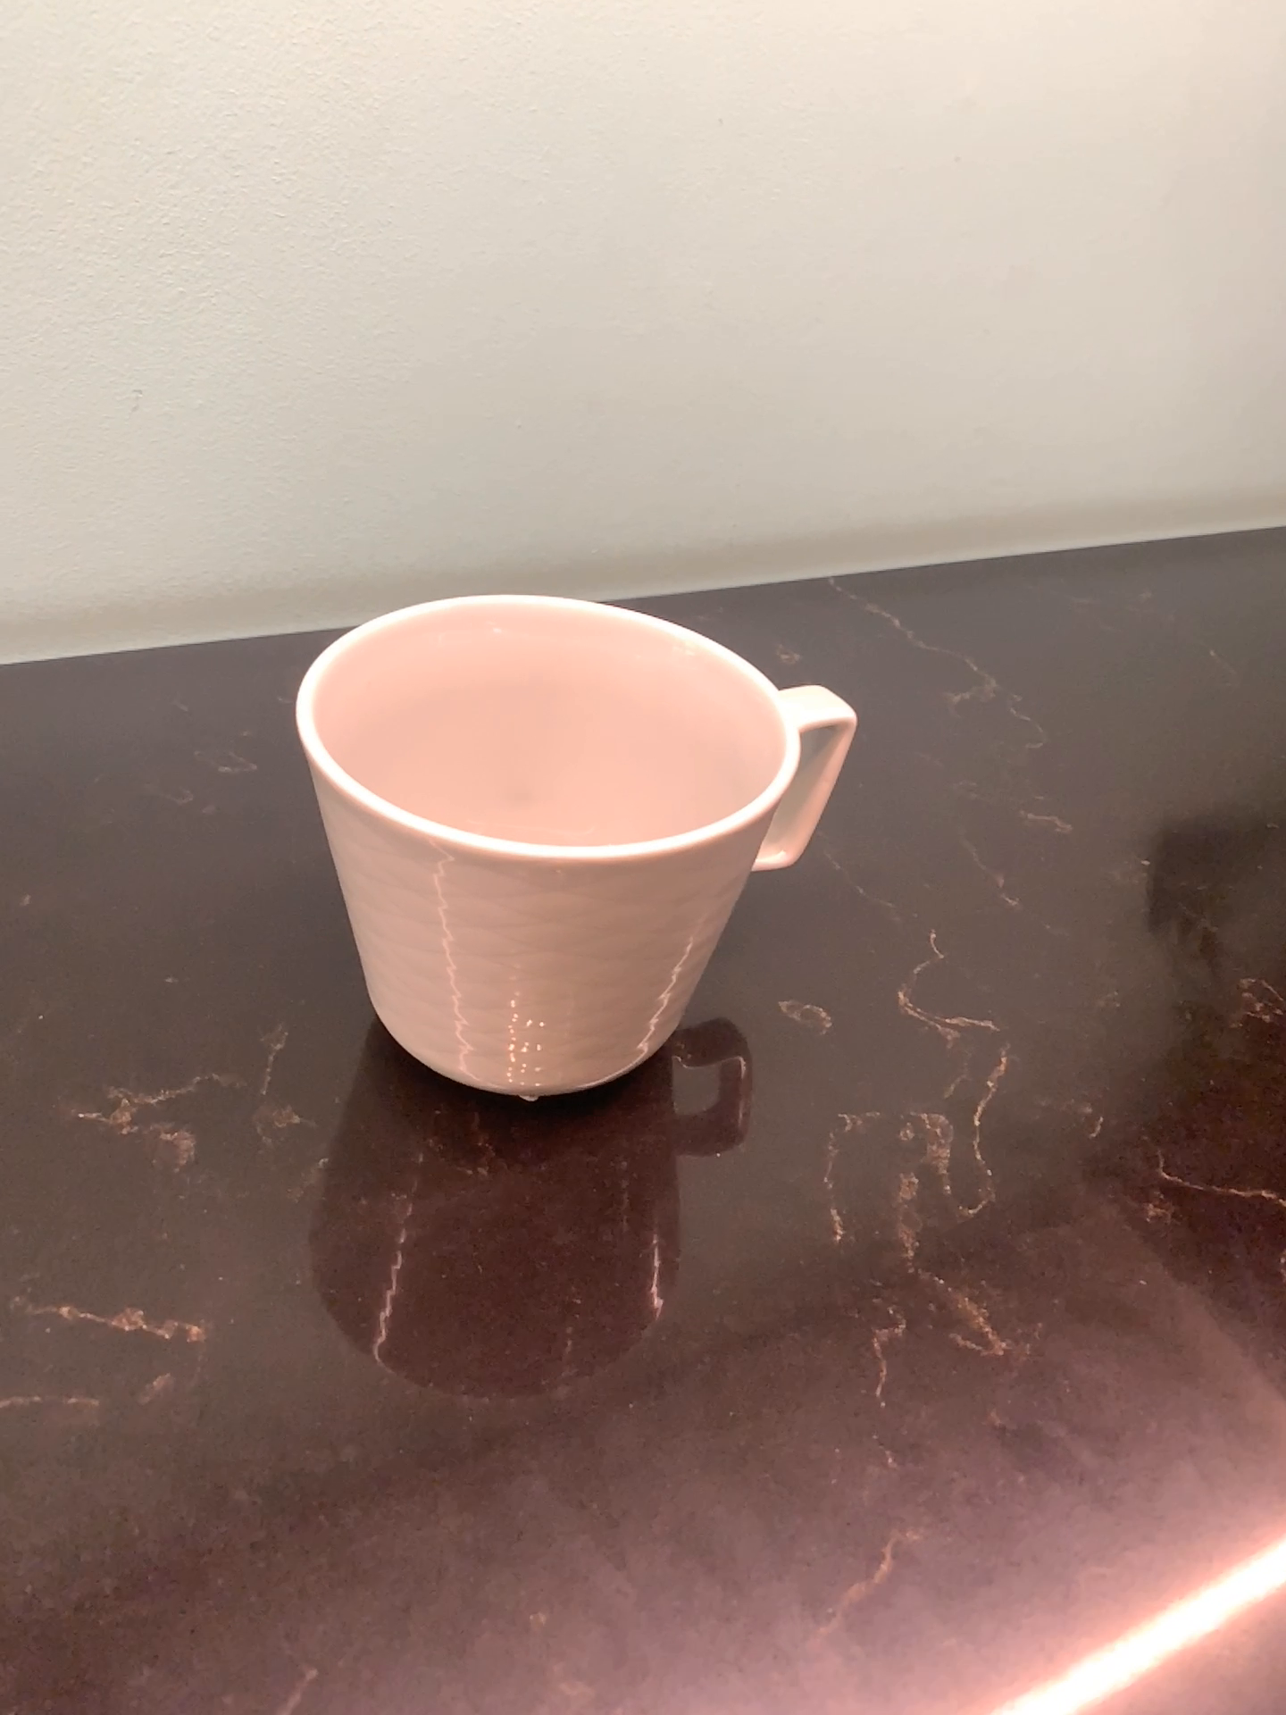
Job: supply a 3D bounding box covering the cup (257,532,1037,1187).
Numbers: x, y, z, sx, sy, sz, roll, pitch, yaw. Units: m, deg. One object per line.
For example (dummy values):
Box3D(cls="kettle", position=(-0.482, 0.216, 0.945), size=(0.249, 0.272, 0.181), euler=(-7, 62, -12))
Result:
Box3D(cls="cup", position=(-0.006, -0.009, 0.295), size=(0.130, 0.080, 0.100), euler=(-12, 42, -26))
